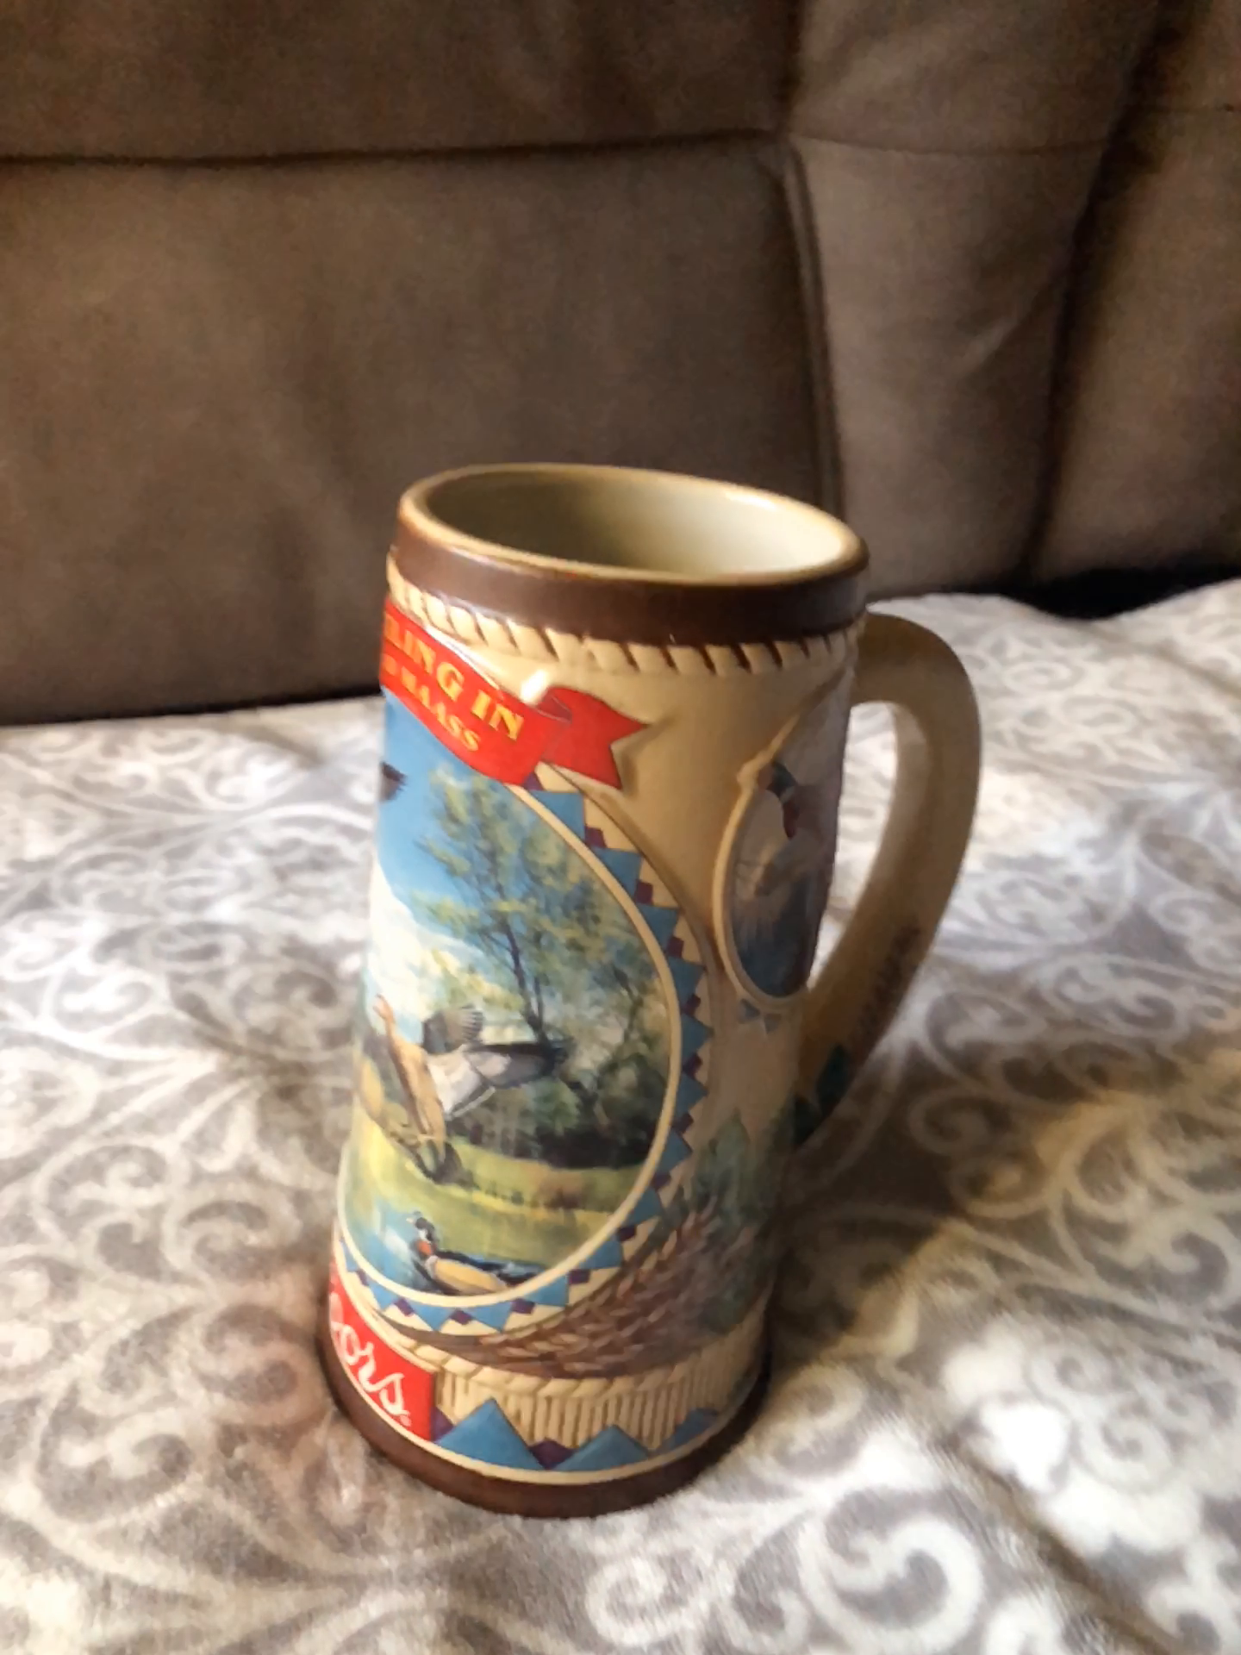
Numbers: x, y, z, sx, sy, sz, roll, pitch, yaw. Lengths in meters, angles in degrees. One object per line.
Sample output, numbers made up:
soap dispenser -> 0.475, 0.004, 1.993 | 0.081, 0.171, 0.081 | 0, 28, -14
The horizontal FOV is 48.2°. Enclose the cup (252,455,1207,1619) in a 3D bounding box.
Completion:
cup -> 0.013, 0.028, 0.293 | 0.144, 0.188, 0.099 | -11, 30, -37
